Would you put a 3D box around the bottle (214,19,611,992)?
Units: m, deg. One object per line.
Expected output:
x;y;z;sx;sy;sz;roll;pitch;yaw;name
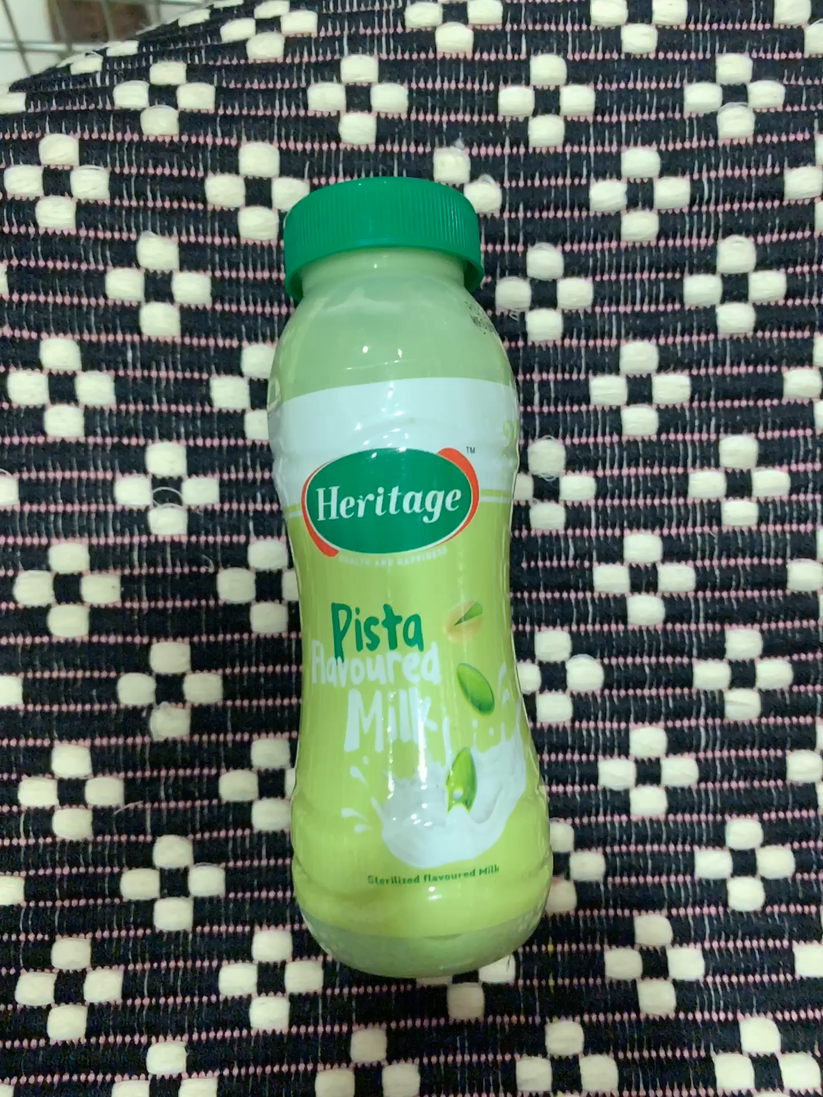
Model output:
-0.002;-0.009;0.160;0.050;0.050;0.150;-4;85;-4;bottle
